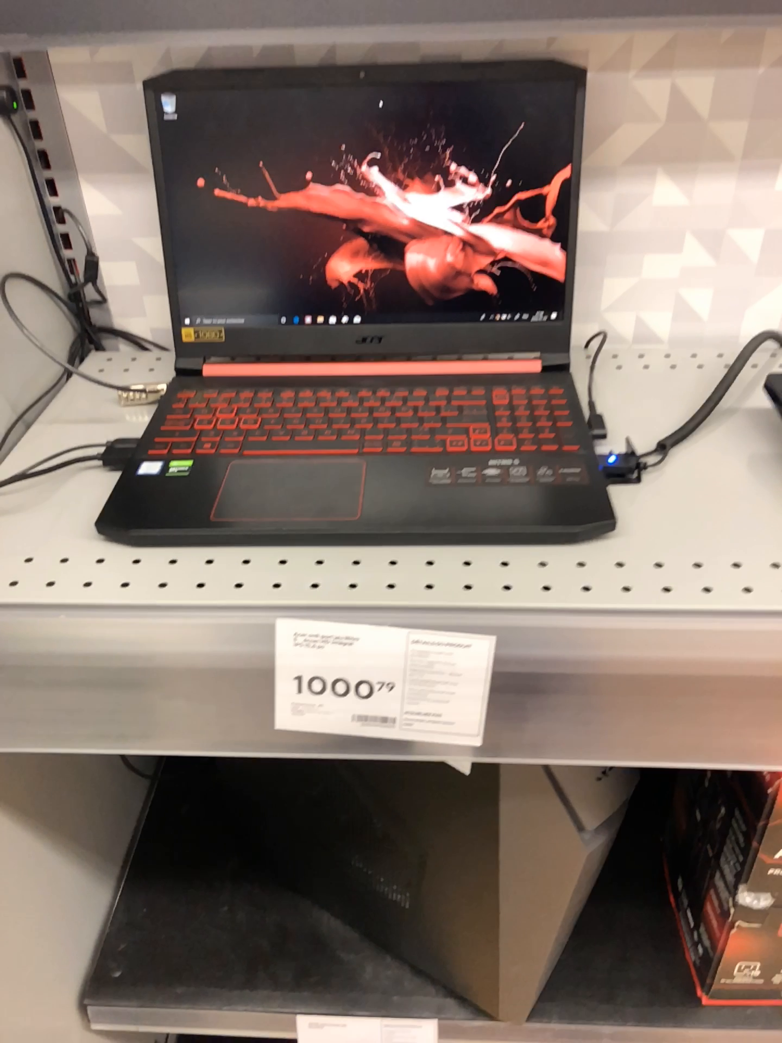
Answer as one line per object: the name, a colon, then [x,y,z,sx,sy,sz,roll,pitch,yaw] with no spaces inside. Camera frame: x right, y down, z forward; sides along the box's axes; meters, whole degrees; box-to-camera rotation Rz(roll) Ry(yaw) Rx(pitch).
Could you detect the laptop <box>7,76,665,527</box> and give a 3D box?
laptop: [-0.023,-0.178,0.657,0.361,0.241,0.282,-1,36,2]
